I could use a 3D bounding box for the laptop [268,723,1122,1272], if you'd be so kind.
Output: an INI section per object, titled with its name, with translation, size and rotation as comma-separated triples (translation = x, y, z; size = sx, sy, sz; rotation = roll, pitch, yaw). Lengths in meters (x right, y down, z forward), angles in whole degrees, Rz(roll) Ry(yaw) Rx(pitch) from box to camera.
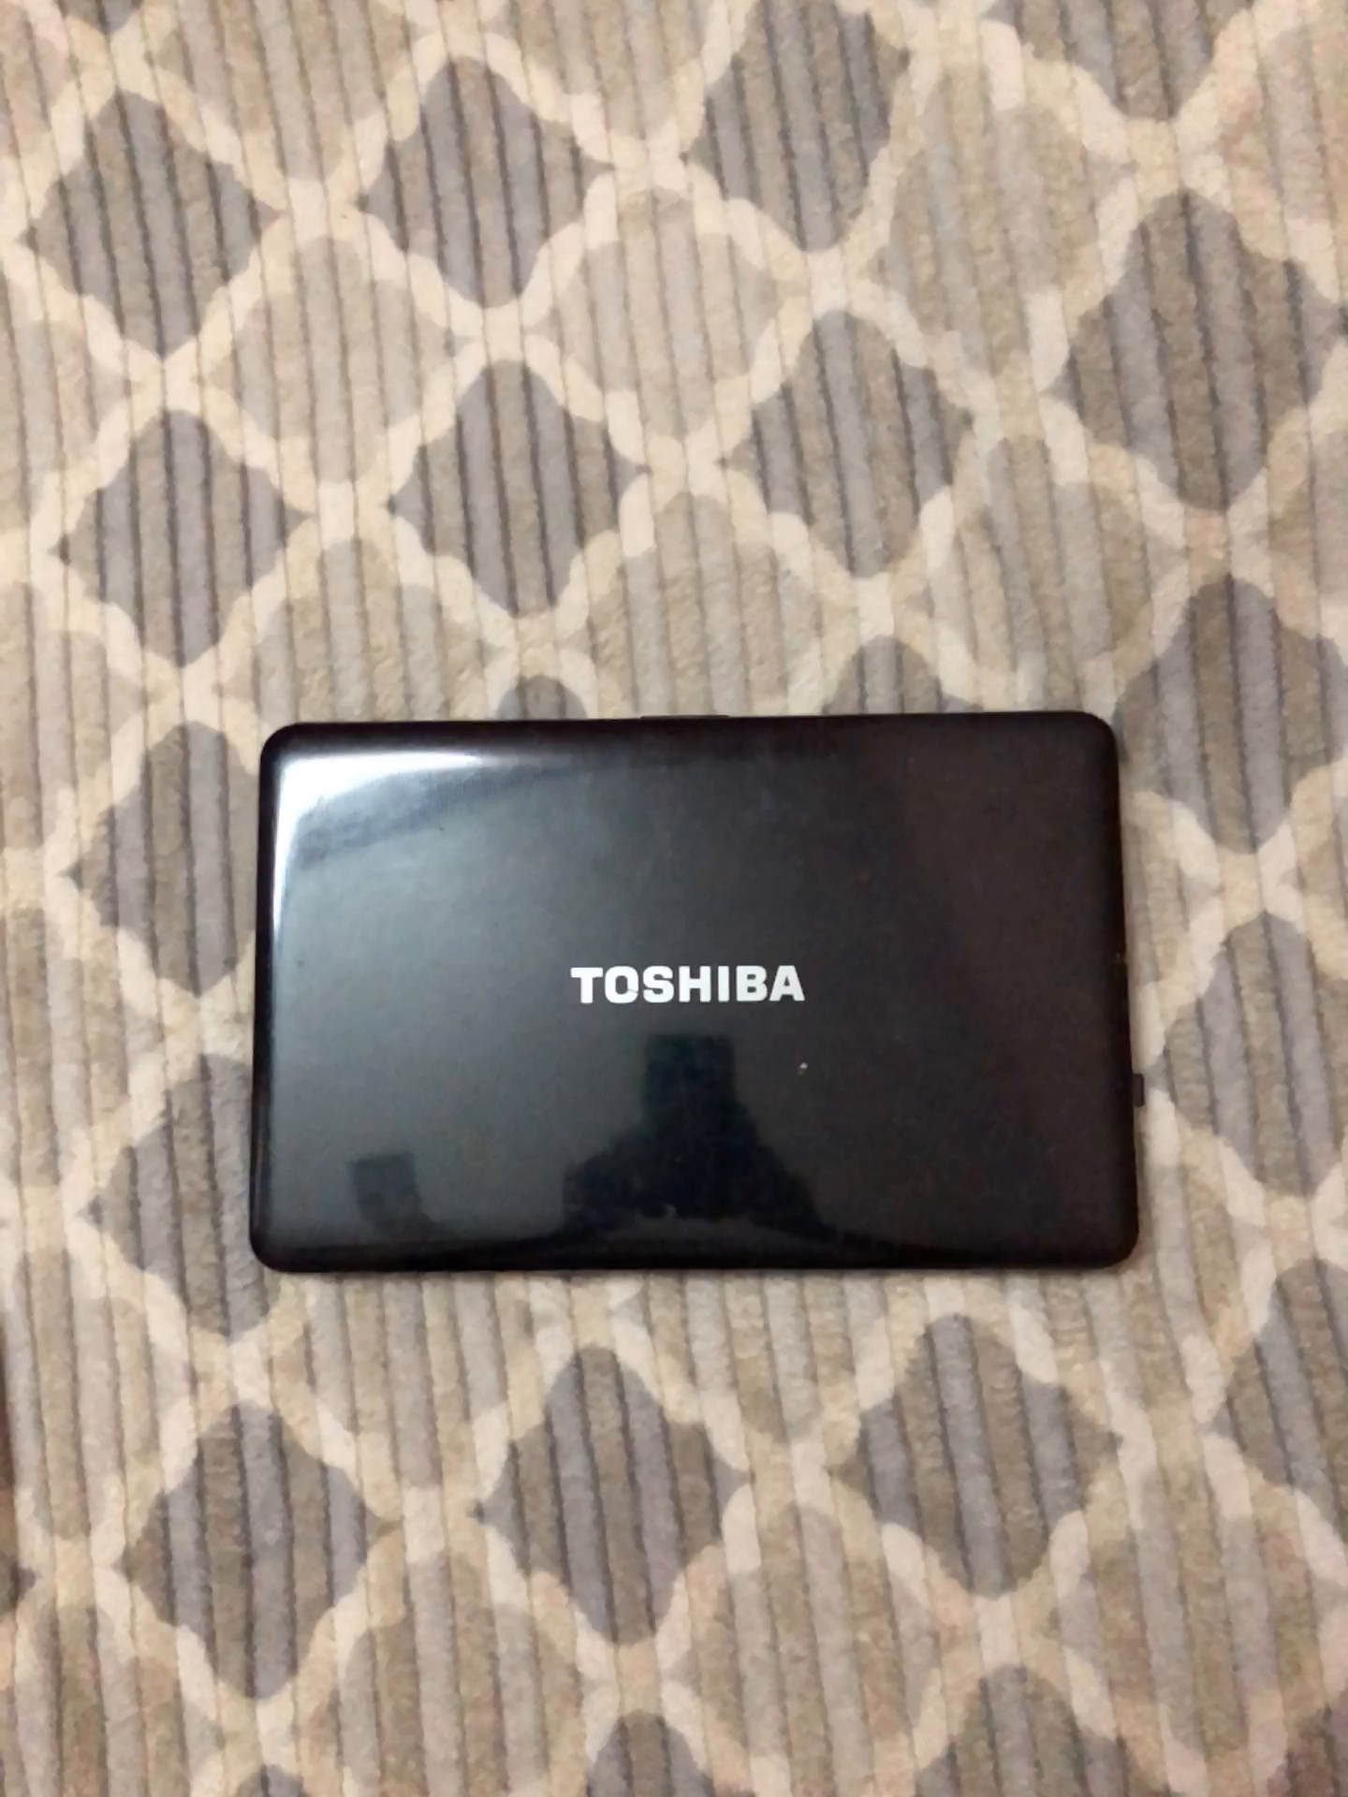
[laptop]
translation = 0.005, 0.043, 0.685
size = 0.375, 0.023, 0.248
rotation = -1, 80, 2
